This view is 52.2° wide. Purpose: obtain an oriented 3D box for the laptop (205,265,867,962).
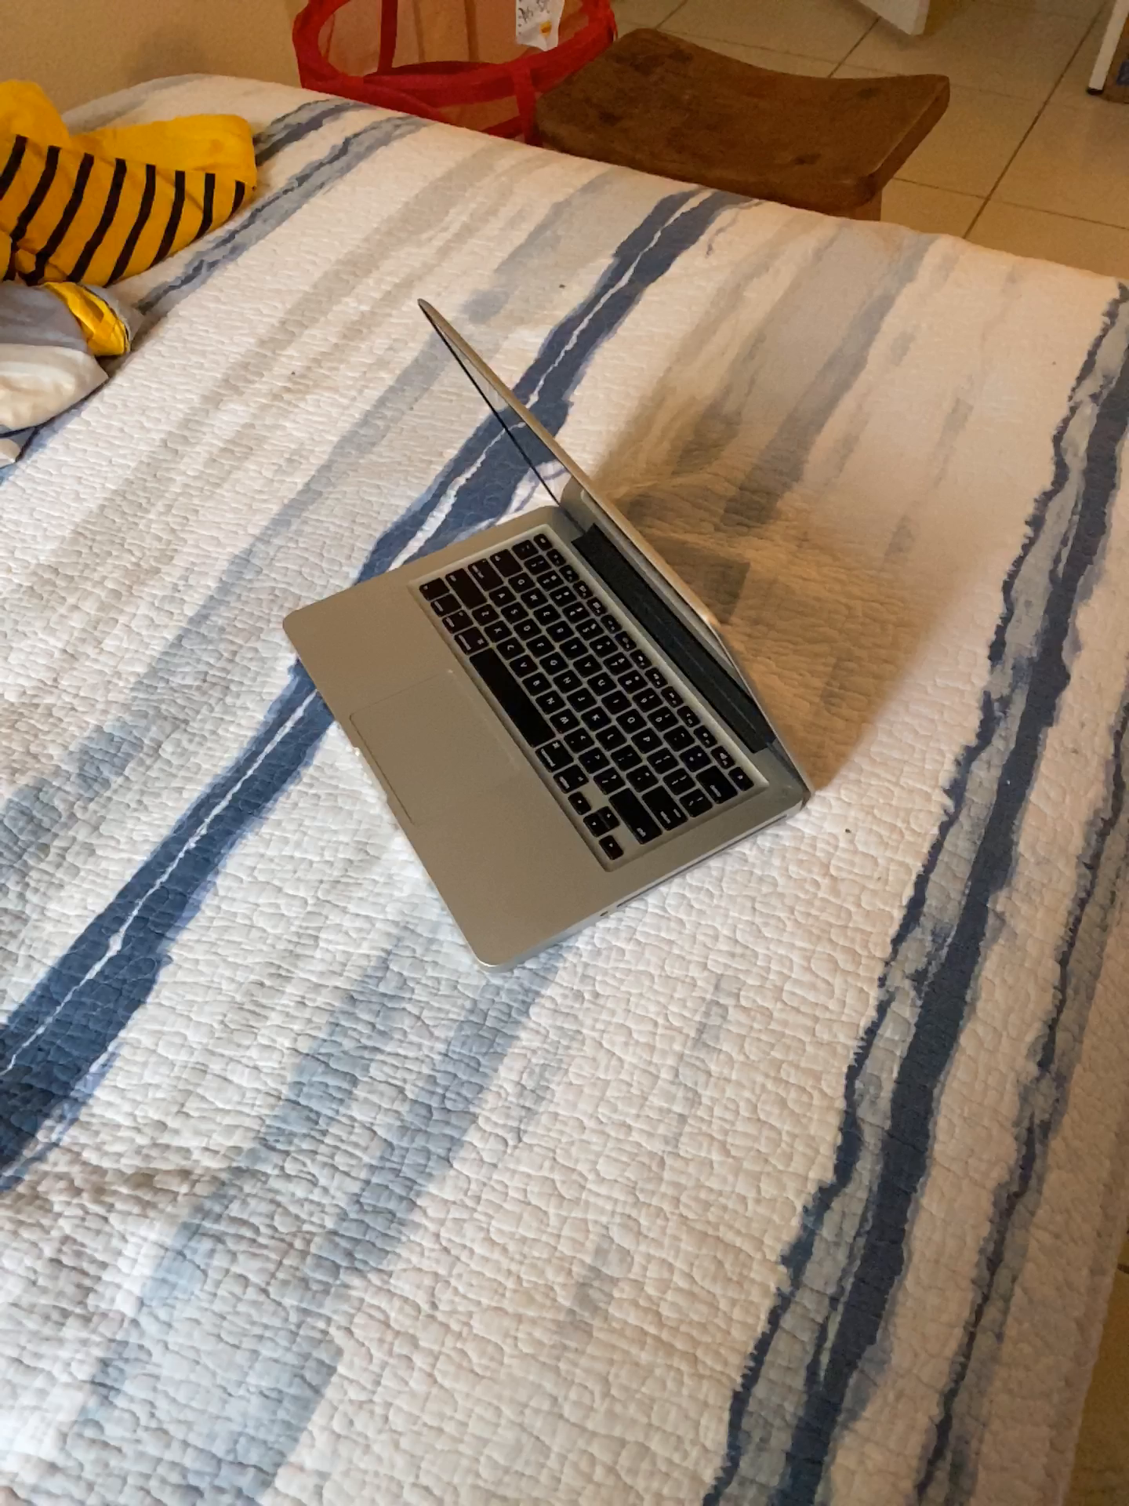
[{"bbox_3d":[-0.029,-0.094,0.680,0.220,0.191,0.316,-26,55,-15],"label":"laptop"}]
